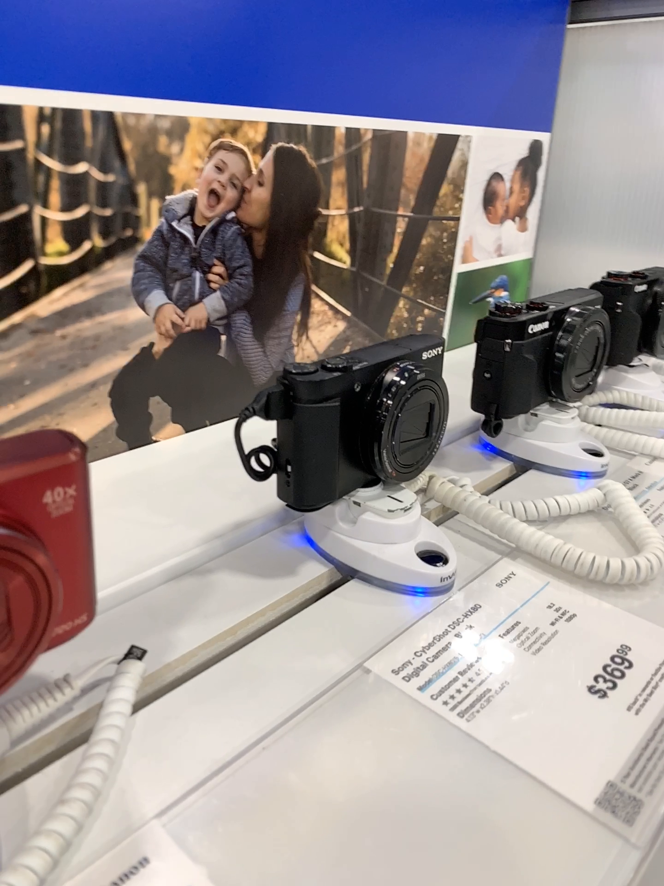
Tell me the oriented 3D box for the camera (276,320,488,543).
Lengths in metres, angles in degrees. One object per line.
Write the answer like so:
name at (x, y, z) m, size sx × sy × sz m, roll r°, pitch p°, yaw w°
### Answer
camera at (0.026, -0.010, 0.314) m, size 0.030 × 0.070 × 0.110 m, roll 21°, pitch 30°, yaw 39°
